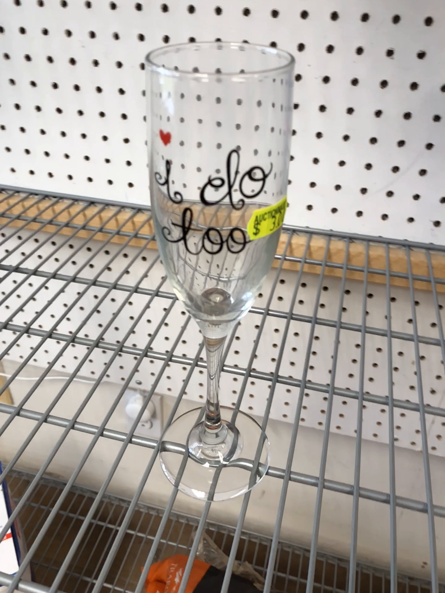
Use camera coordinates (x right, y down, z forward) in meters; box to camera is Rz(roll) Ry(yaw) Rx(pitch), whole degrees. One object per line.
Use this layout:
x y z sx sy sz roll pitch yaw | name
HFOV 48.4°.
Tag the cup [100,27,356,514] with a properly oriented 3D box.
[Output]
0.003 0.003 0.223 0.070 0.209 0.070 1 35 -1 | cup
